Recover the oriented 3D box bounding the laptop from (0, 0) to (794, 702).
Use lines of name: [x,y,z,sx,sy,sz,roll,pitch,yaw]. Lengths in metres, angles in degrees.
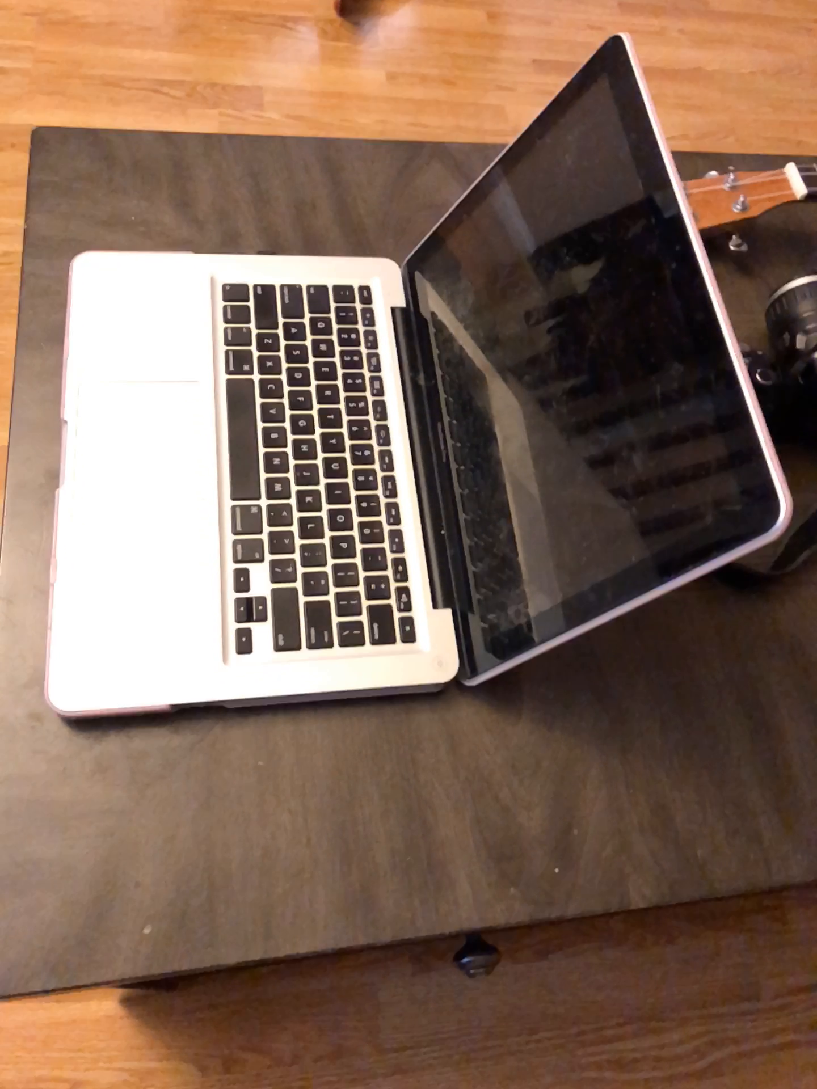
laptop: [-0.028,-0.100,0.494,0.321,0.186,0.313,-1,63,-11]
